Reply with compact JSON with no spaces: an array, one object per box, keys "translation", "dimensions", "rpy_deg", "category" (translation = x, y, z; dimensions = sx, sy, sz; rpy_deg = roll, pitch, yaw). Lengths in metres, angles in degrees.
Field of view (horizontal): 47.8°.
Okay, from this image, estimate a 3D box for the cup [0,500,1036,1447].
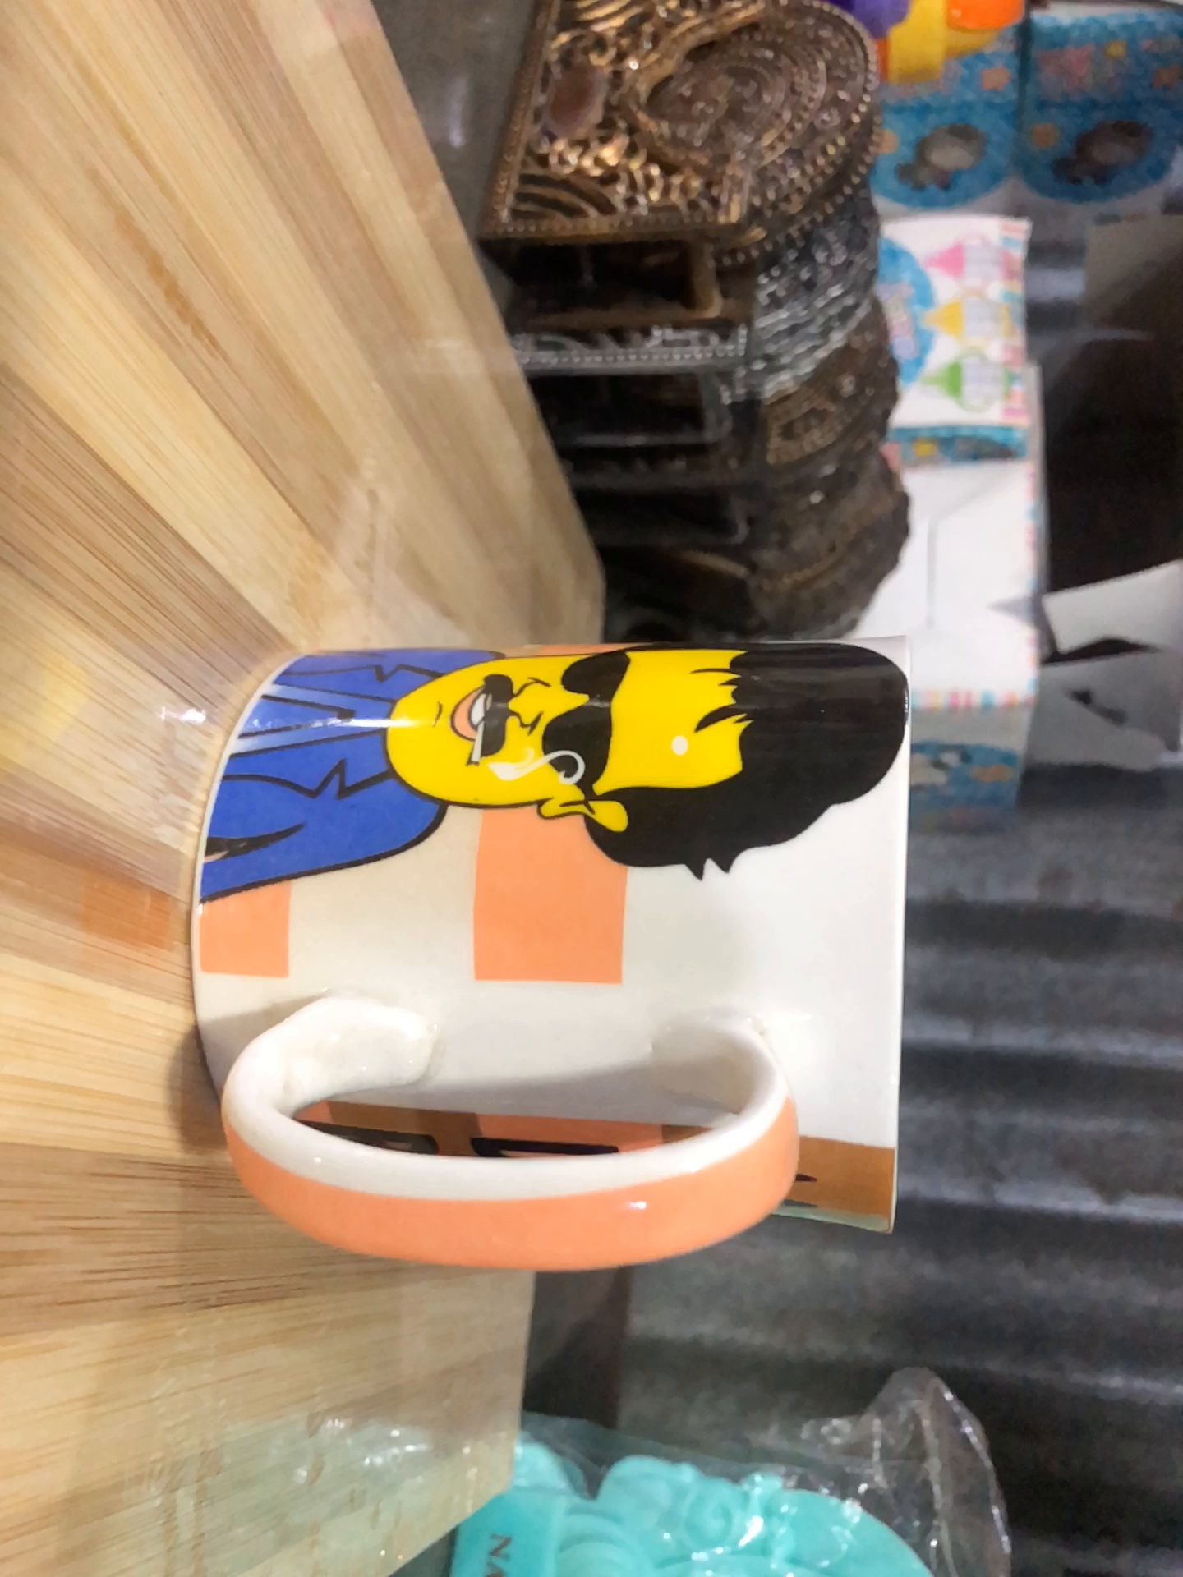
[{"translation":[0.003,0.009,0.175],"dimensions":[0.110,0.090,0.070],"rpy_deg":[-65,155,-64],"category":"cup"}]
